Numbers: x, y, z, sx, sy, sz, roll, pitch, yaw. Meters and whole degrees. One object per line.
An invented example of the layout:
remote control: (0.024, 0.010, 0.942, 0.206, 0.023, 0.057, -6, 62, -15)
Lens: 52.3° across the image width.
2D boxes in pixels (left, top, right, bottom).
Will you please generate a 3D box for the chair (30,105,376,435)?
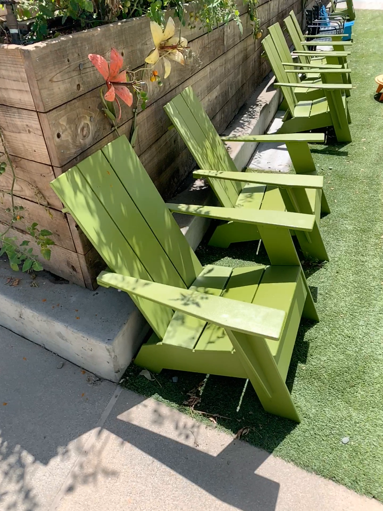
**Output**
chair: (0.127, -0.011, 1.441, 0.902, 0.835, 0.683, 7, 37, 22)

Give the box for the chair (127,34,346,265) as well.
chair: (0.337, -0.545, 2.258, 0.891, 0.984, 0.683, -1, 37, 29)
